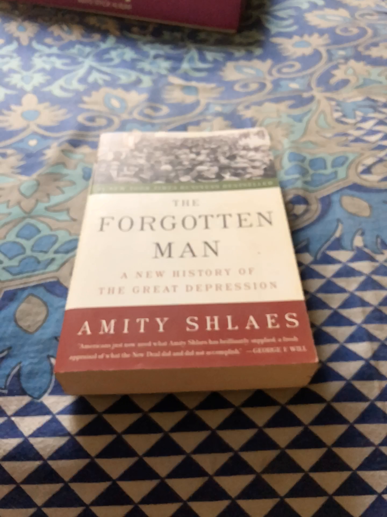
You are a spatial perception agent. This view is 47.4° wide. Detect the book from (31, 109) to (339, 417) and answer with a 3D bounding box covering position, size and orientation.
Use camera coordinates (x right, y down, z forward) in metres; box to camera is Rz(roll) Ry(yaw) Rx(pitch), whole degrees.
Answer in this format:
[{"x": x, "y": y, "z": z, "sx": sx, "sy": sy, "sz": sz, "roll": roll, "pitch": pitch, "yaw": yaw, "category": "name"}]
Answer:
[{"x": -0.009, "y": -0.012, "z": 0.282, "sx": 0.140, "sy": 0.050, "sz": 0.201, "roll": -2, "pitch": 52, "yaw": -2, "category": "book"}]
